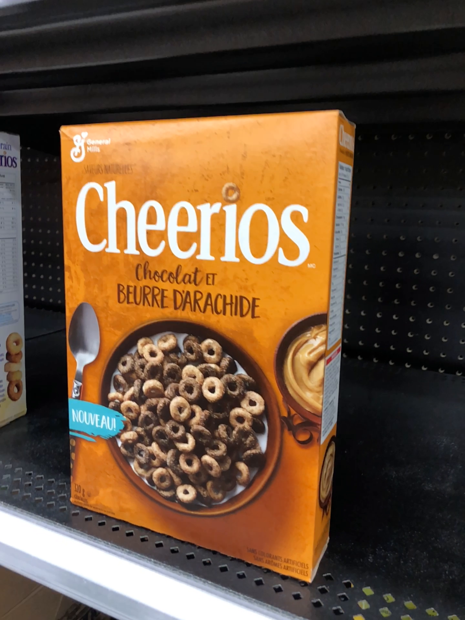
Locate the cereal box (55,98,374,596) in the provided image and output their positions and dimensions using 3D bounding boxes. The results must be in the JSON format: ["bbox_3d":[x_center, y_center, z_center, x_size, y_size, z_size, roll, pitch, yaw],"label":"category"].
[{"bbox_3d":[-0.020,0.017,0.357,0.200,0.289,0.060,7,12,24],"label":"cereal box"}]
